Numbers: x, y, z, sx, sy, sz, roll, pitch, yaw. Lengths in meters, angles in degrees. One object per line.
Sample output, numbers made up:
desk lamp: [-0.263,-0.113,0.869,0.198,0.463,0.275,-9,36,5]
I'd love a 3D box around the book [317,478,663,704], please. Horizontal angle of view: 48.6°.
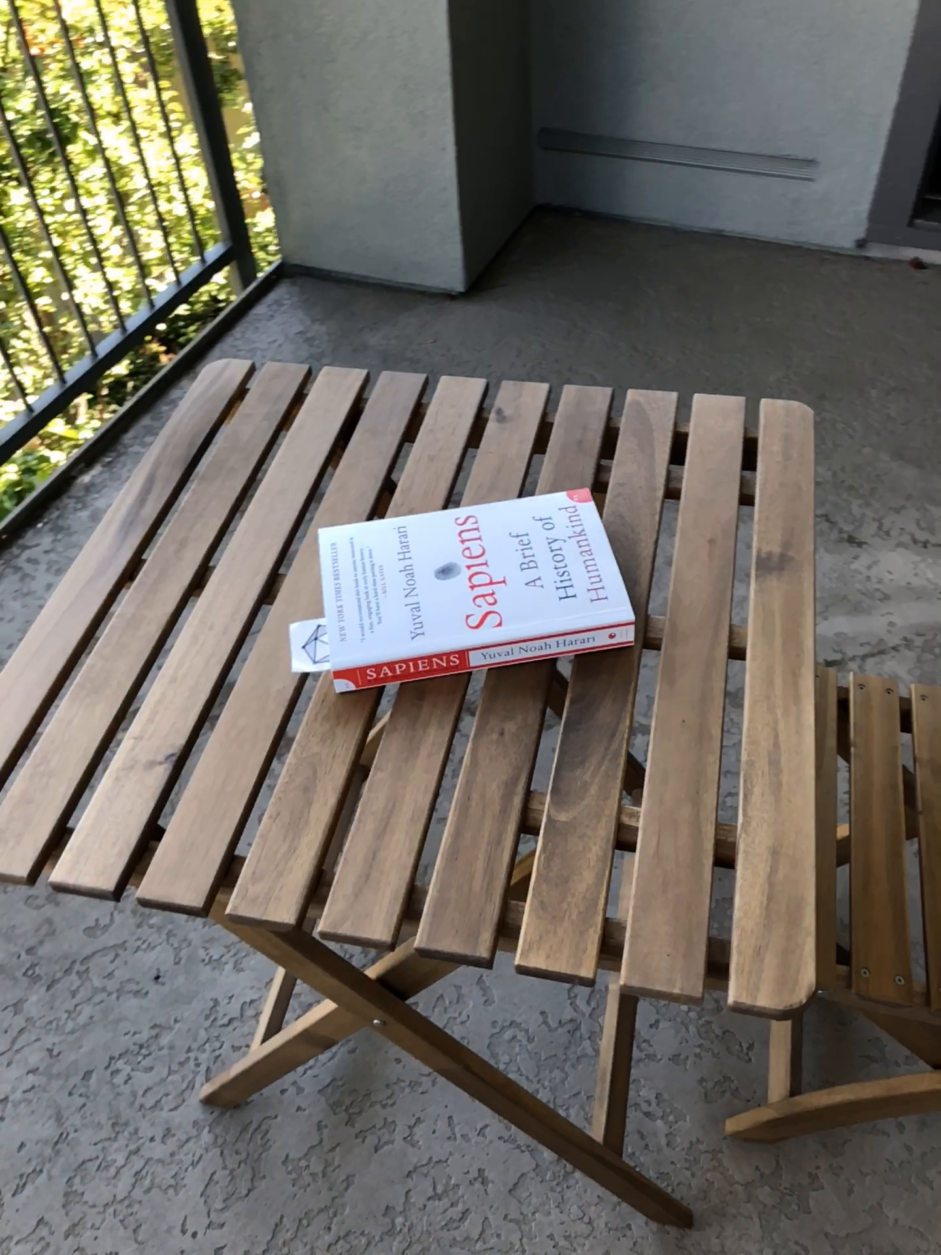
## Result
book: [0.008,-0.034,0.810,0.240,0.040,0.161,-9,48,-4]
